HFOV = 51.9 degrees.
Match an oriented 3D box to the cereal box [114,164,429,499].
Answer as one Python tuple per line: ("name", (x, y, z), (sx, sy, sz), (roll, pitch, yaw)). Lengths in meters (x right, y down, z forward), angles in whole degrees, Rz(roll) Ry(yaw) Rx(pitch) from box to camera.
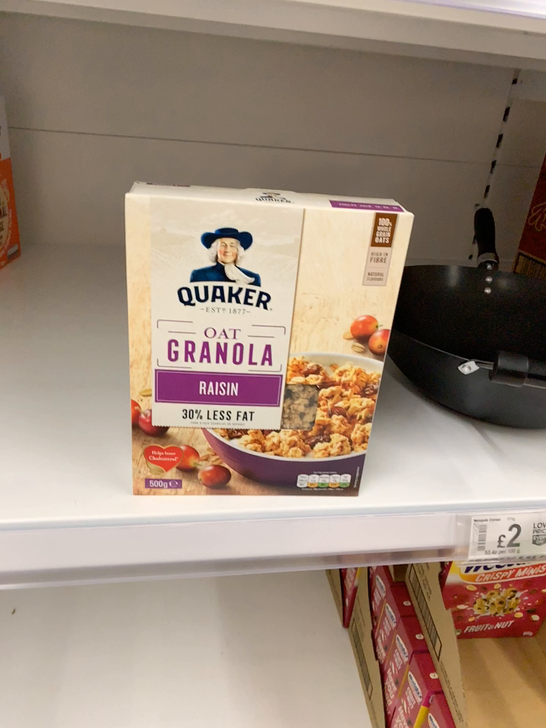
("cereal box", (-0.012, -0.013, 0.435), (0.200, 0.248, 0.061), (2, 27, -8))
